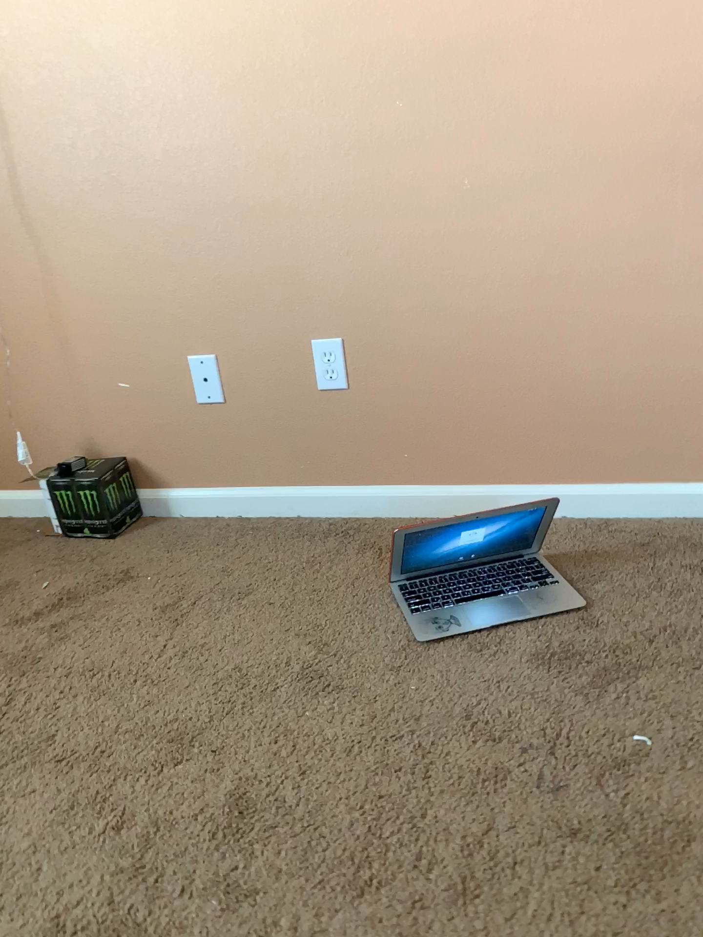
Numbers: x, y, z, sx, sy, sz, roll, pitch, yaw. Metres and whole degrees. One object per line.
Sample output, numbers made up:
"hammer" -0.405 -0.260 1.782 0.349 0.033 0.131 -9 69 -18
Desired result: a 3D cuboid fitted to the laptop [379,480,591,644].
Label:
"laptop" 0.221 0.149 1.221 0.298 0.148 0.194 -11 21 -8
